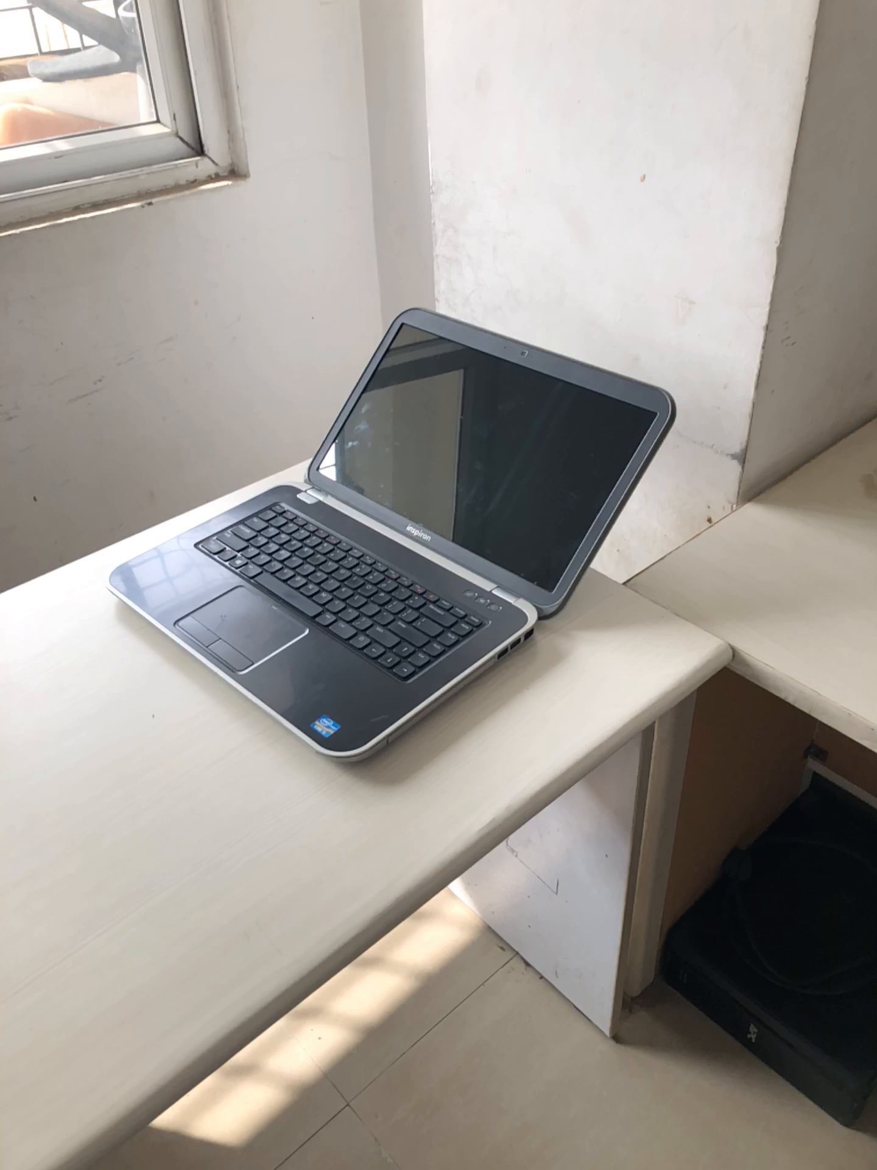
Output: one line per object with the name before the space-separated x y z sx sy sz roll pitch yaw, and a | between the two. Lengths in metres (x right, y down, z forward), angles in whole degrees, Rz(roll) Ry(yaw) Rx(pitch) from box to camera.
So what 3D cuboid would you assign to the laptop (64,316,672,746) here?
laptop | -0.056 -0.088 0.905 0.342 0.145 0.407 29 47 36
